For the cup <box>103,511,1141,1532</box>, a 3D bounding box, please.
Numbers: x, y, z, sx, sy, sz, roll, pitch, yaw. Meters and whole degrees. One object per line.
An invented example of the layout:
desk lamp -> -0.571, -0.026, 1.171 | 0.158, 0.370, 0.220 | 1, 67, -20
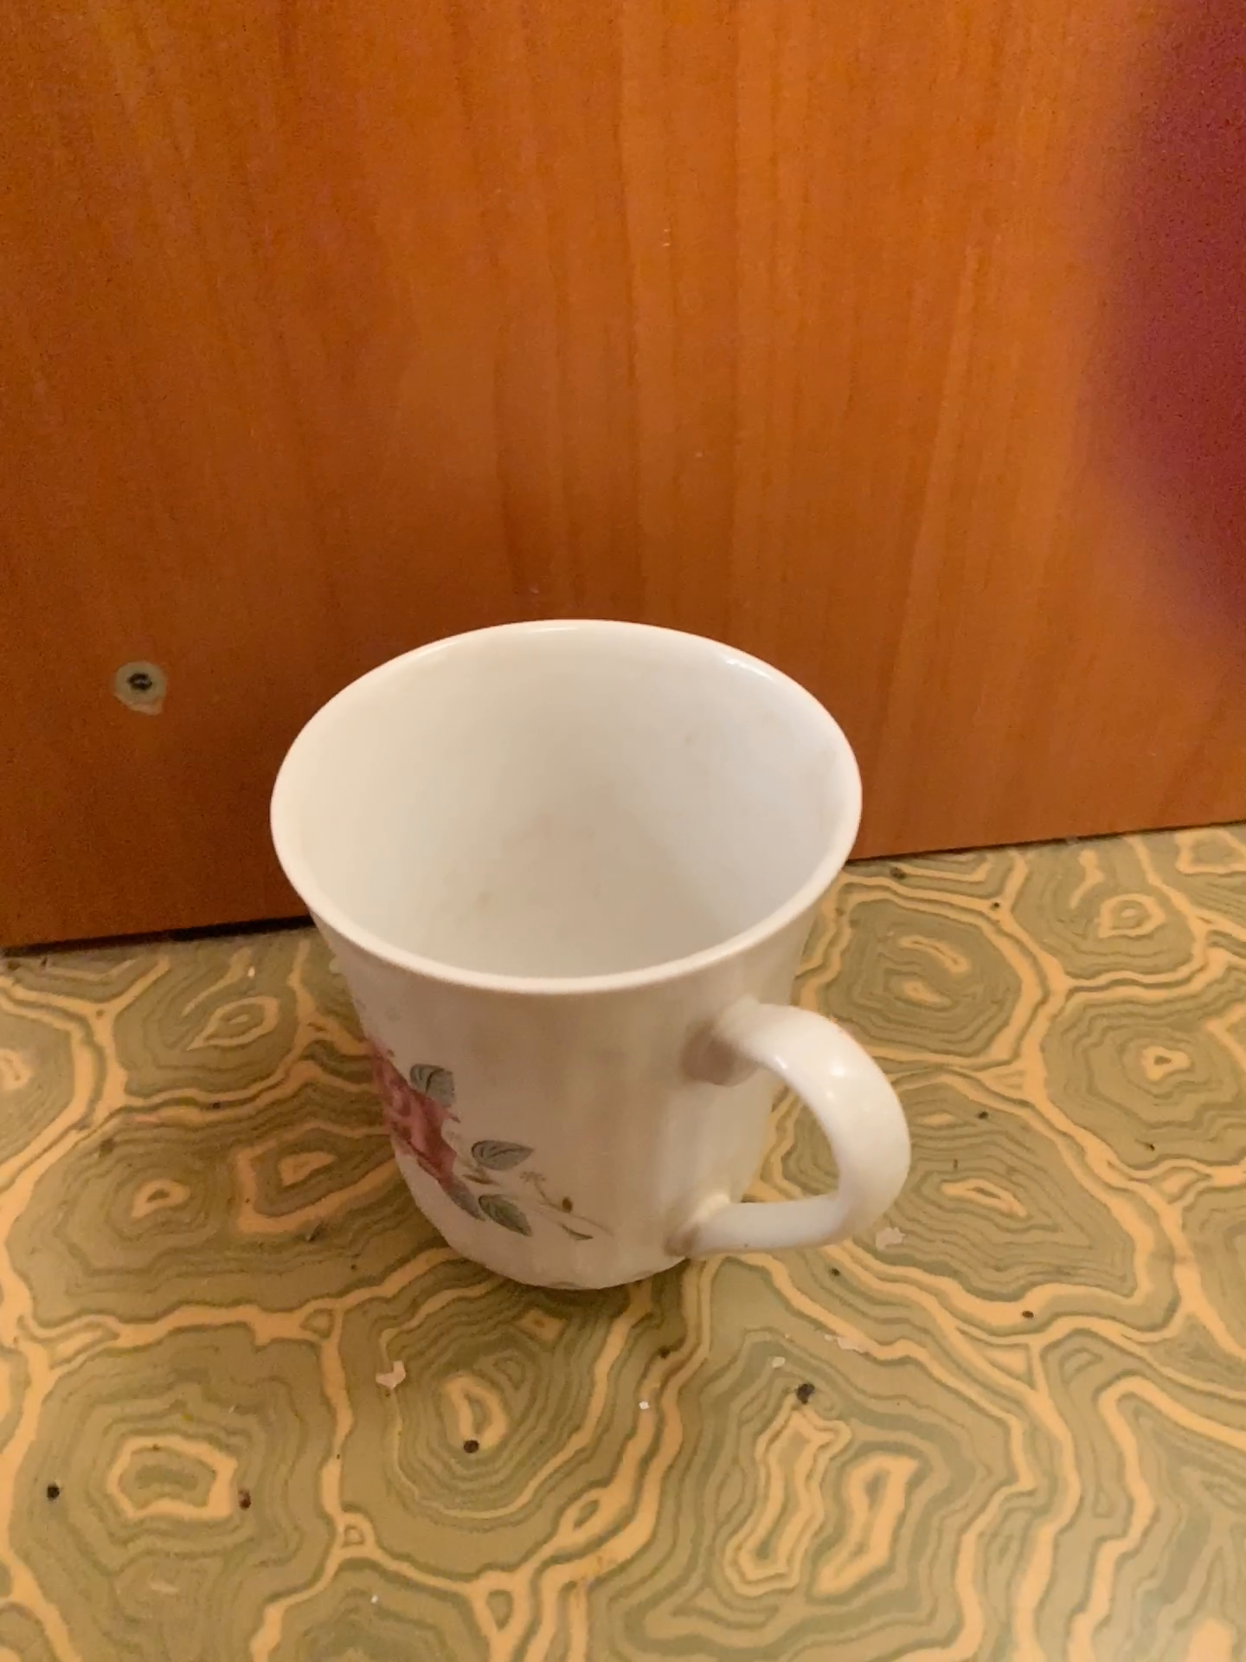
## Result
cup -> -0.001, 0.020, 0.211 | 0.119, 0.086, 0.086 | 27, 48, 29
